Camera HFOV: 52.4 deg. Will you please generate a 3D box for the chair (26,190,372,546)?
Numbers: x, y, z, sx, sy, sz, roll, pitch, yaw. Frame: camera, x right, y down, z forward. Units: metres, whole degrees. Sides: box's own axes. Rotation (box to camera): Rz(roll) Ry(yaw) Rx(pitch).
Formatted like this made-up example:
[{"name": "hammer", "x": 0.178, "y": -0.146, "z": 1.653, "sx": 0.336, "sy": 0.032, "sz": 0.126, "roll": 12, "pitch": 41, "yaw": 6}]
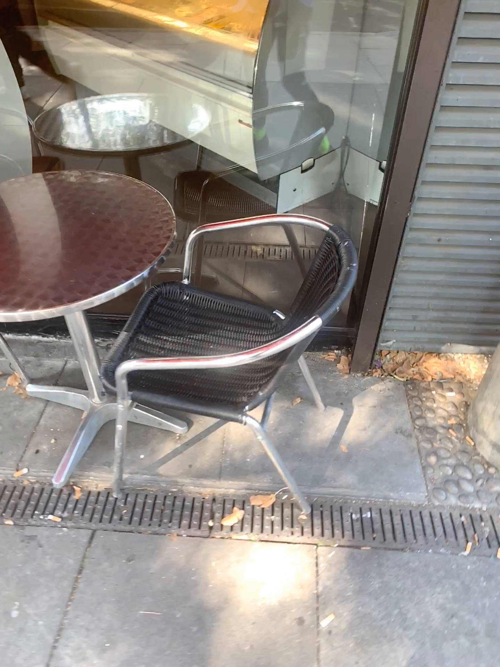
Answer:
[{"name": "chair", "x": -0.056, "y": 0.066, "z": 1.346, "sx": 0.640, "sy": 0.604, "sz": 0.606, "roll": 8, "pitch": 42, "yaw": 9}]
